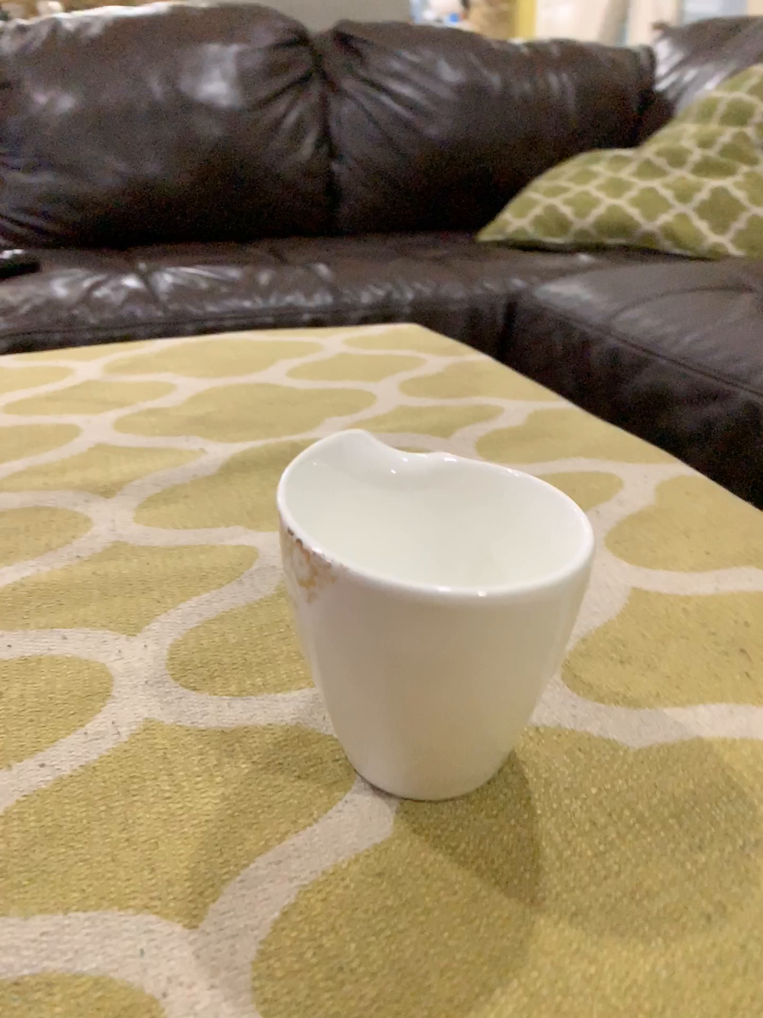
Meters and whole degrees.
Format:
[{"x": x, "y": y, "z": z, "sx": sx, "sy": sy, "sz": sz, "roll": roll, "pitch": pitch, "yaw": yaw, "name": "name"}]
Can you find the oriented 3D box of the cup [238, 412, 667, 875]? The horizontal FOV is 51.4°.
[{"x": 0.017, "y": 0.029, "z": 0.230, "sx": 0.088, "sy": 0.079, "sz": 0.109, "roll": 2, "pitch": 26, "yaw": 3, "name": "cup"}]
